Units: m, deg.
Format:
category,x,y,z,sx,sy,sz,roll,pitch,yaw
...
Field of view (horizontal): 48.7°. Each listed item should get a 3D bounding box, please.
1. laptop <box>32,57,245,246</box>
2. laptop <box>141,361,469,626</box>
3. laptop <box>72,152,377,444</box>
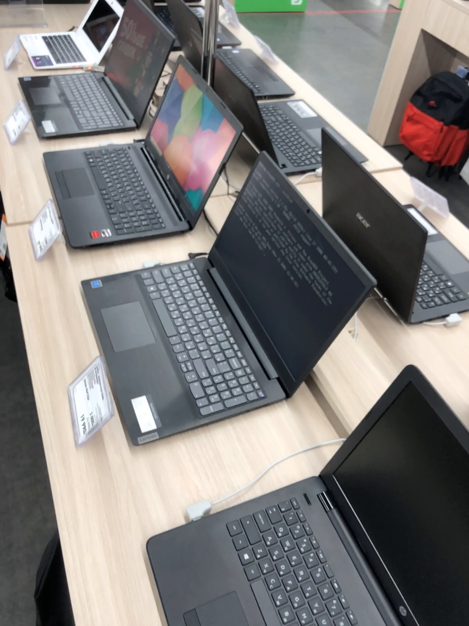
category,x,y,z,sx,sy,sz,roll,pitch,yaw
laptop,-0.208,-0.348,1.065,0.320,0.202,0.352,-12,48,-18
laptop,0.101,0.279,0.468,0.297,0.208,0.338,-13,49,-19
laptop,-0.042,-0.047,0.786,0.322,0.210,0.341,-13,48,-19
